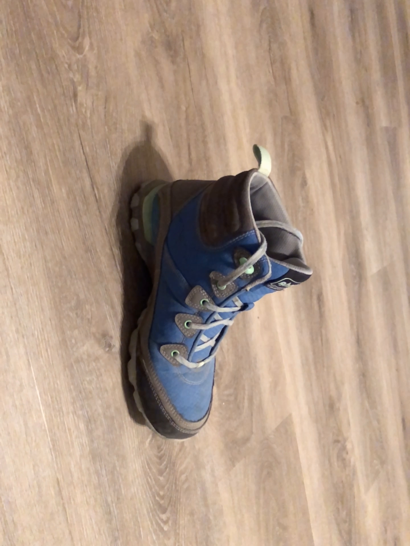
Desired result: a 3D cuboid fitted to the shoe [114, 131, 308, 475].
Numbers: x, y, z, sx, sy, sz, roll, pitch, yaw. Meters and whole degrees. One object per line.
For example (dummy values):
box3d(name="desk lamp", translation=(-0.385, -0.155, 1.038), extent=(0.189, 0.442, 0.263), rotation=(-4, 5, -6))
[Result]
box3d(name="shoe", translation=(0.003, 0.025, 0.413), extent=(0.101, 0.139, 0.250), rotation=(3, 84, -50))
